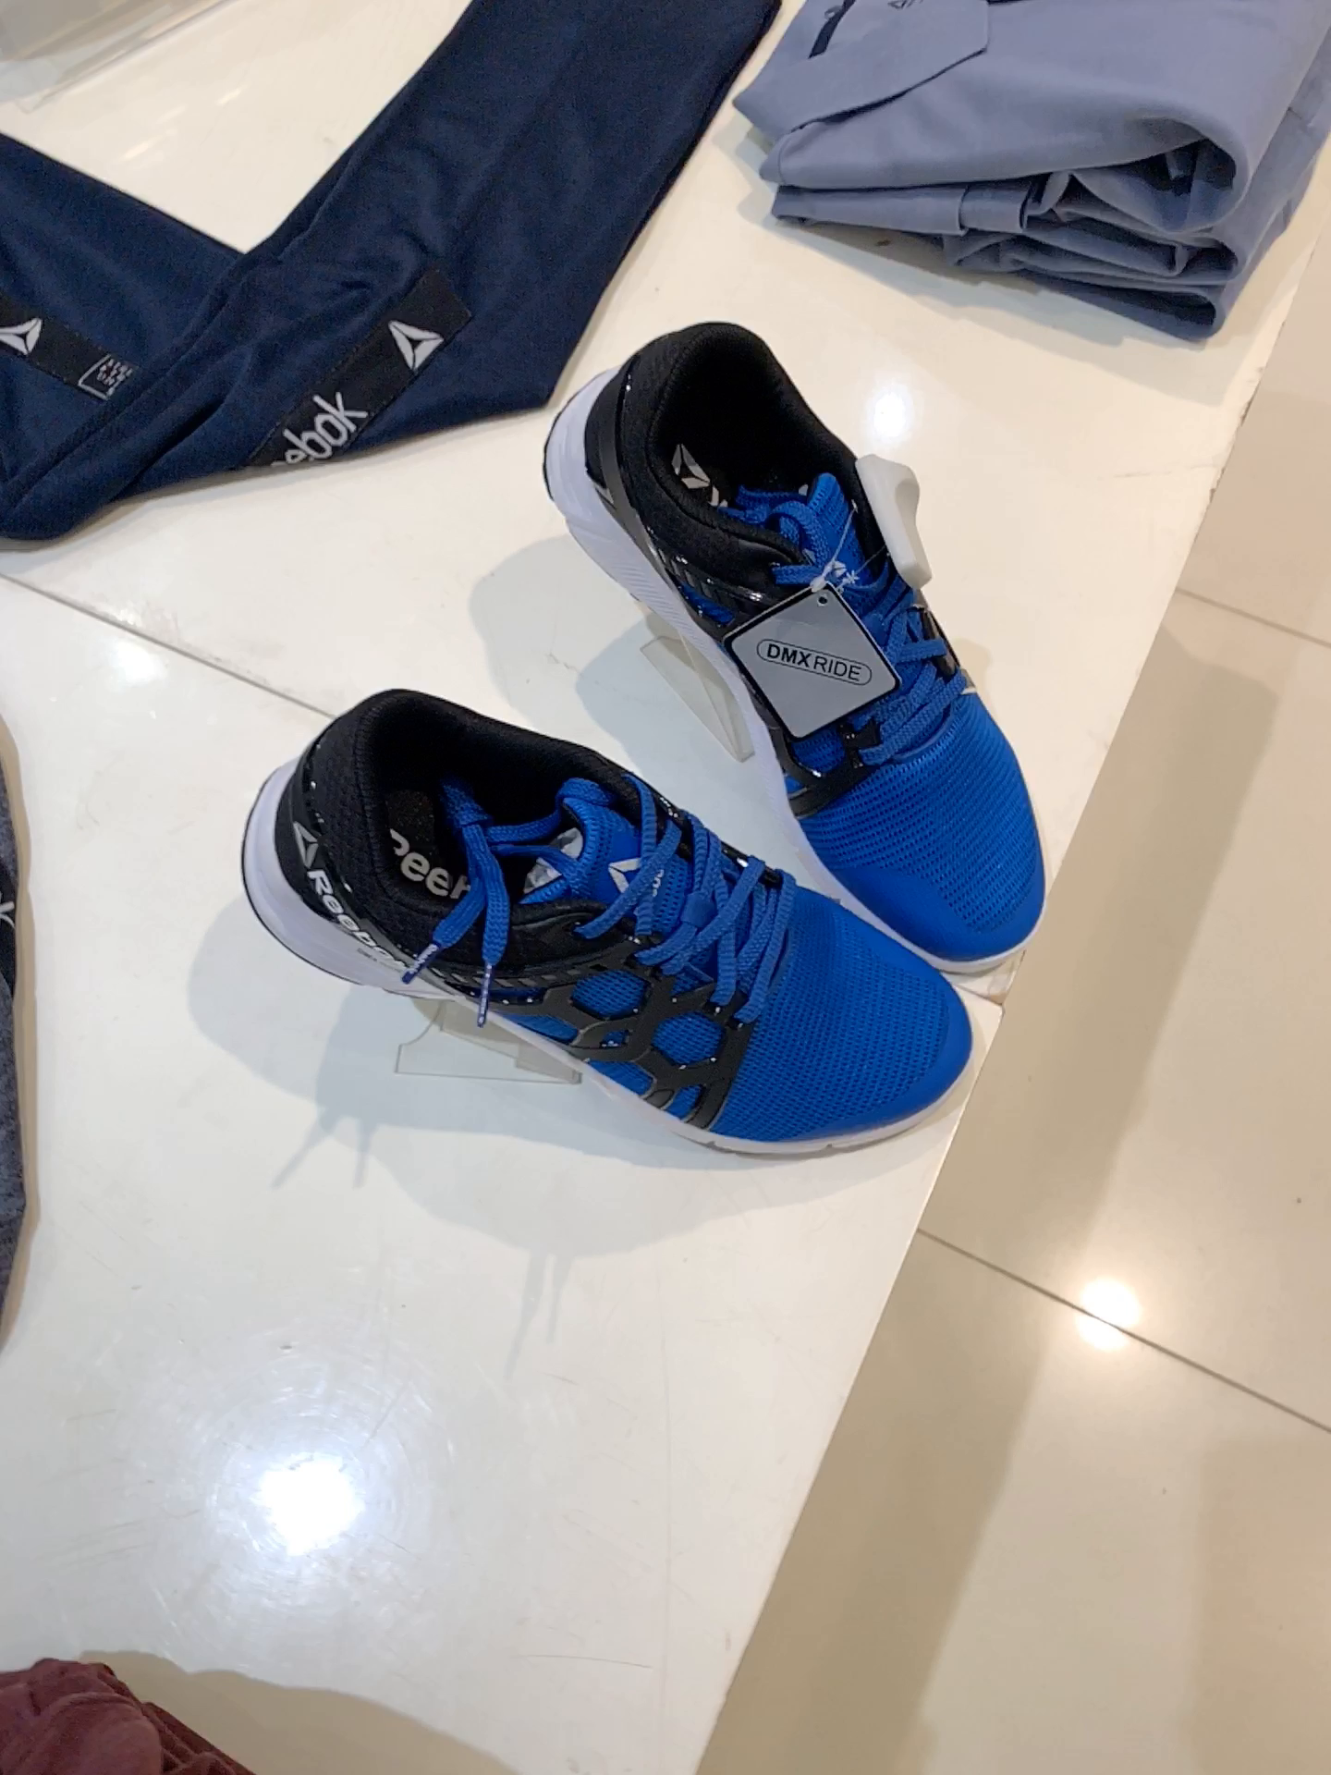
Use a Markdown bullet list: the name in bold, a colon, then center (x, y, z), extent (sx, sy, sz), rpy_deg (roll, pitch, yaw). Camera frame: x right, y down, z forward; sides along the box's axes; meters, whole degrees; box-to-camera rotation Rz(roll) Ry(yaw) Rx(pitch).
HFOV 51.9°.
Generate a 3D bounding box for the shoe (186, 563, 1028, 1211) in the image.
- **shoe**: center (-0.008, 0.016, 0.495), extent (0.279, 0.100, 0.100), rpy_deg (27, 57, -24)

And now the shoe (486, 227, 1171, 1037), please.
- **shoe**: center (0.071, -0.084, 0.528), extent (0.100, 0.080, 0.289), rpy_deg (-46, 114, -15)
